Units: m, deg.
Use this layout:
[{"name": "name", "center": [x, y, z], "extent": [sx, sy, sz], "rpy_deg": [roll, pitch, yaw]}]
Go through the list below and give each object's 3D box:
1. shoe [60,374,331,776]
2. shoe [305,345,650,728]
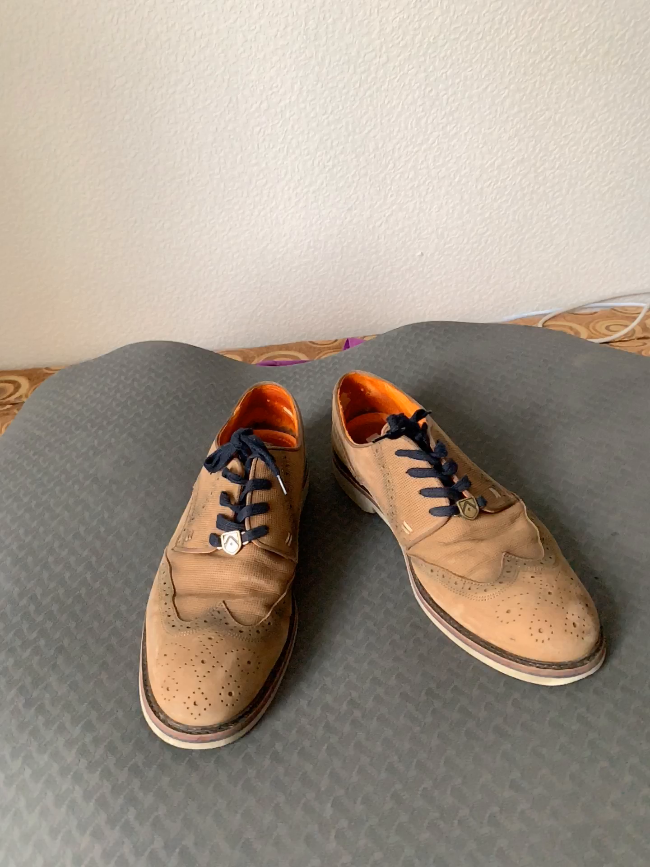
[{"name": "shoe", "center": [-0.067, 0.075, 0.492], "extent": [0.110, 0.090, 0.302], "rpy_deg": [0, 37, 7]}, {"name": "shoe", "center": [0.104, 0.048, 0.495], "extent": [0.110, 0.090, 0.291], "rpy_deg": [-21, 39, -20]}]
